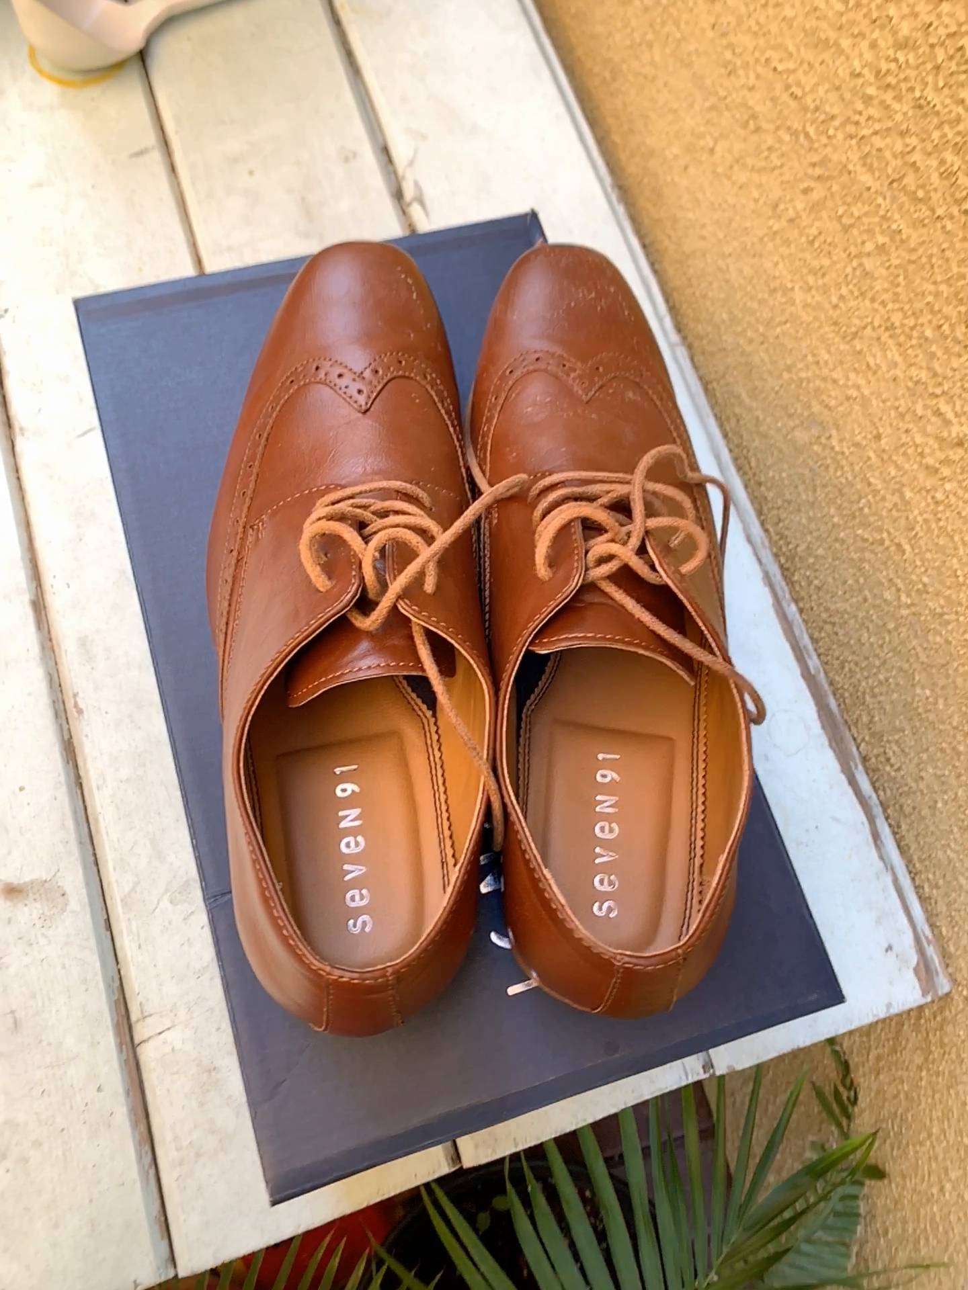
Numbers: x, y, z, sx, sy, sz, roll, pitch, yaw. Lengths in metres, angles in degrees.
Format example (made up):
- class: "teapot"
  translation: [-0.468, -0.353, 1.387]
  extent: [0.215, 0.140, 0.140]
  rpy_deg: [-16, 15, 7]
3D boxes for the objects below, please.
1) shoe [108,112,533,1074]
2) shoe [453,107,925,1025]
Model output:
- class: "shoe"
  translation: [-0.050, -0.023, 0.343]
  extent: [0.104, 0.100, 0.301]
  rpy_deg: [0, 71, -6]
- class: "shoe"
  translation: [0.051, -0.031, 0.355]
  extent: [0.110, 0.100, 0.301]
  rpy_deg: [0, 71, -6]
